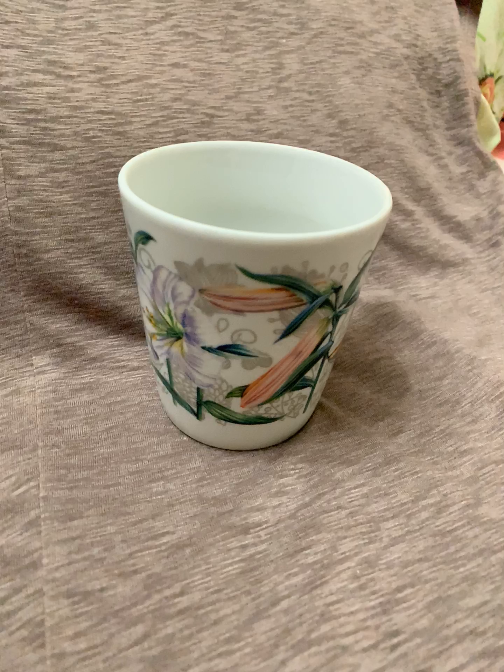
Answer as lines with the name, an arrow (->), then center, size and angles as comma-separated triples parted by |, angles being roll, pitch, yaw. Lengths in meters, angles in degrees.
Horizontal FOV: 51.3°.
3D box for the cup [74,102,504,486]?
cup -> 0.011, -0.026, 0.197 | 0.119, 0.088, 0.084 | -17, 41, -24
